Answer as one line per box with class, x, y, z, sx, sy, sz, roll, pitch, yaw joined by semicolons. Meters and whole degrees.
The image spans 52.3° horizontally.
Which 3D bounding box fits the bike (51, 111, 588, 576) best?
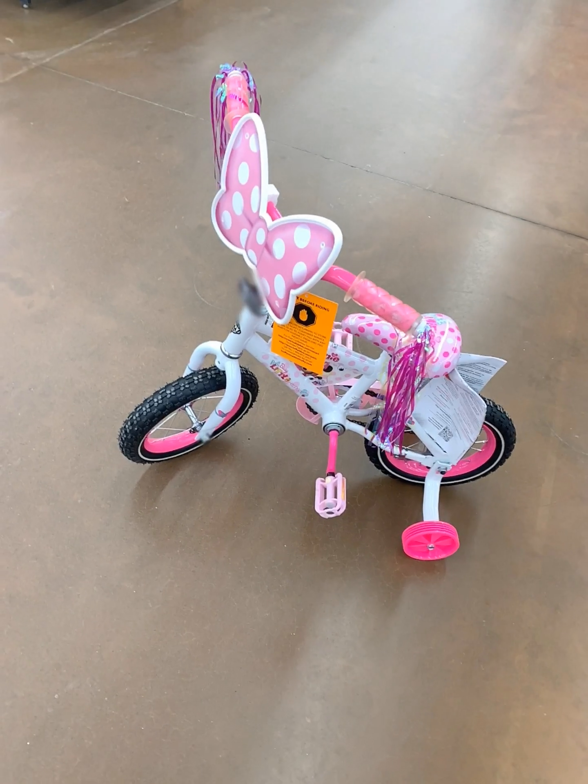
bike;0.069;-0.043;1.054;0.776;0.707;0.429;0;48;-4
